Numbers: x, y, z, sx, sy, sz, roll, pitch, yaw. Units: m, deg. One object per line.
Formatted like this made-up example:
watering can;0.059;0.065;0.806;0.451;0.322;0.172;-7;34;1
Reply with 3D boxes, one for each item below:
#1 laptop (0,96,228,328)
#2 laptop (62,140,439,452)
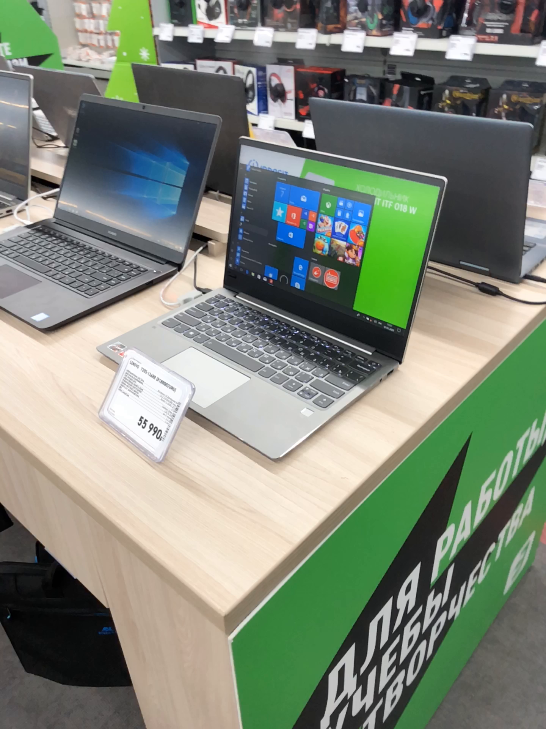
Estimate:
laptop;-0.319;-0.262;0.921;0.345;0.188;0.340;24;43;34
laptop;-0.022;-0.104;0.669;0.286;0.187;0.262;26;44;36
